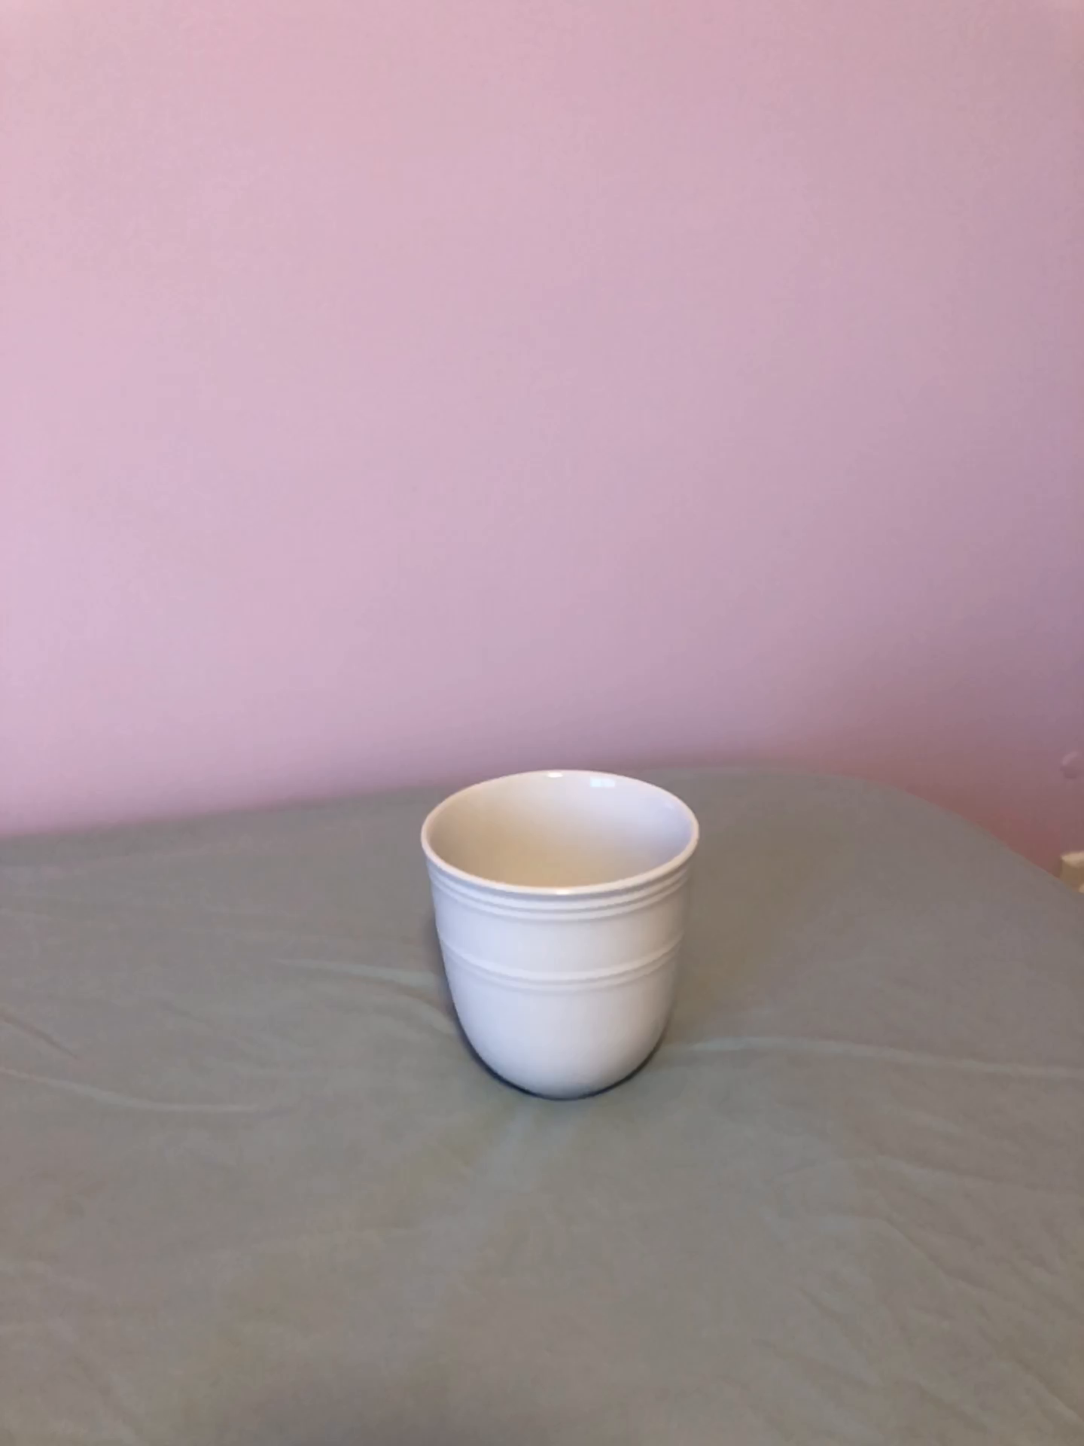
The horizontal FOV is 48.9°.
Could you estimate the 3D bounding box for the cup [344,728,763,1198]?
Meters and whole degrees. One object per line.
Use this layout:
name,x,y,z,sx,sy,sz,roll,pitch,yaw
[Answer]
cup,0.011,0.080,0.459,0.100,0.100,0.140,11,24,27
